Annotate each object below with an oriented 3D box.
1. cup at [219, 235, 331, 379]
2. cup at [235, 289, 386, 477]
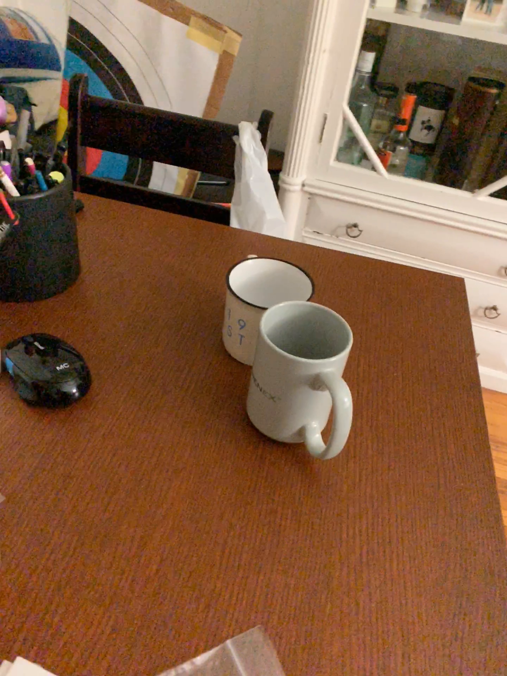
[{"bbox_3d":[0.016,-0.036,0.588,0.100,0.099,0.131,2,41,-8],"label":"cup"},{"bbox_3d":[0.042,0.038,0.478,0.100,0.099,0.141,2,41,-8],"label":"cup"}]
